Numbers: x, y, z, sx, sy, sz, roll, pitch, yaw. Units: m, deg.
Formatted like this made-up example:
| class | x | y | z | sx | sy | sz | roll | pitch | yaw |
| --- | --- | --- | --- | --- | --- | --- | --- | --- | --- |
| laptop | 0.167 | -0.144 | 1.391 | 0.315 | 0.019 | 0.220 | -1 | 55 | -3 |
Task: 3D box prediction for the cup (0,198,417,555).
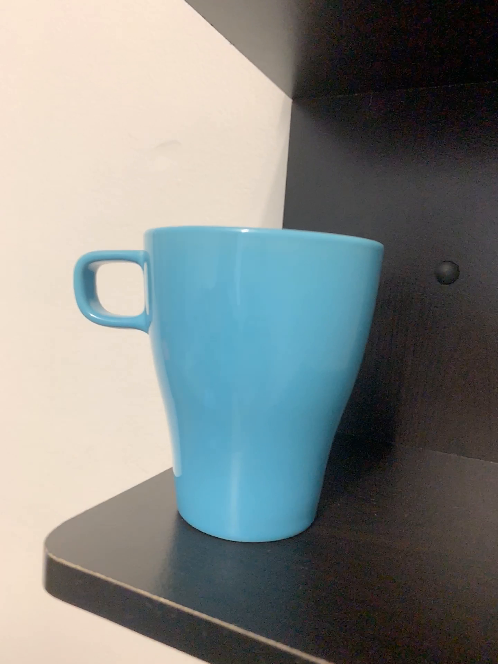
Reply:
| class | x | y | z | sx | sy | sz | roll | pitch | yaw |
| --- | --- | --- | --- | --- | --- | --- | --- | --- | --- |
| cup | -0.013 | 0.009 | 0.187 | 0.110 | 0.090 | 0.090 | 4 | 4 | 1 |
